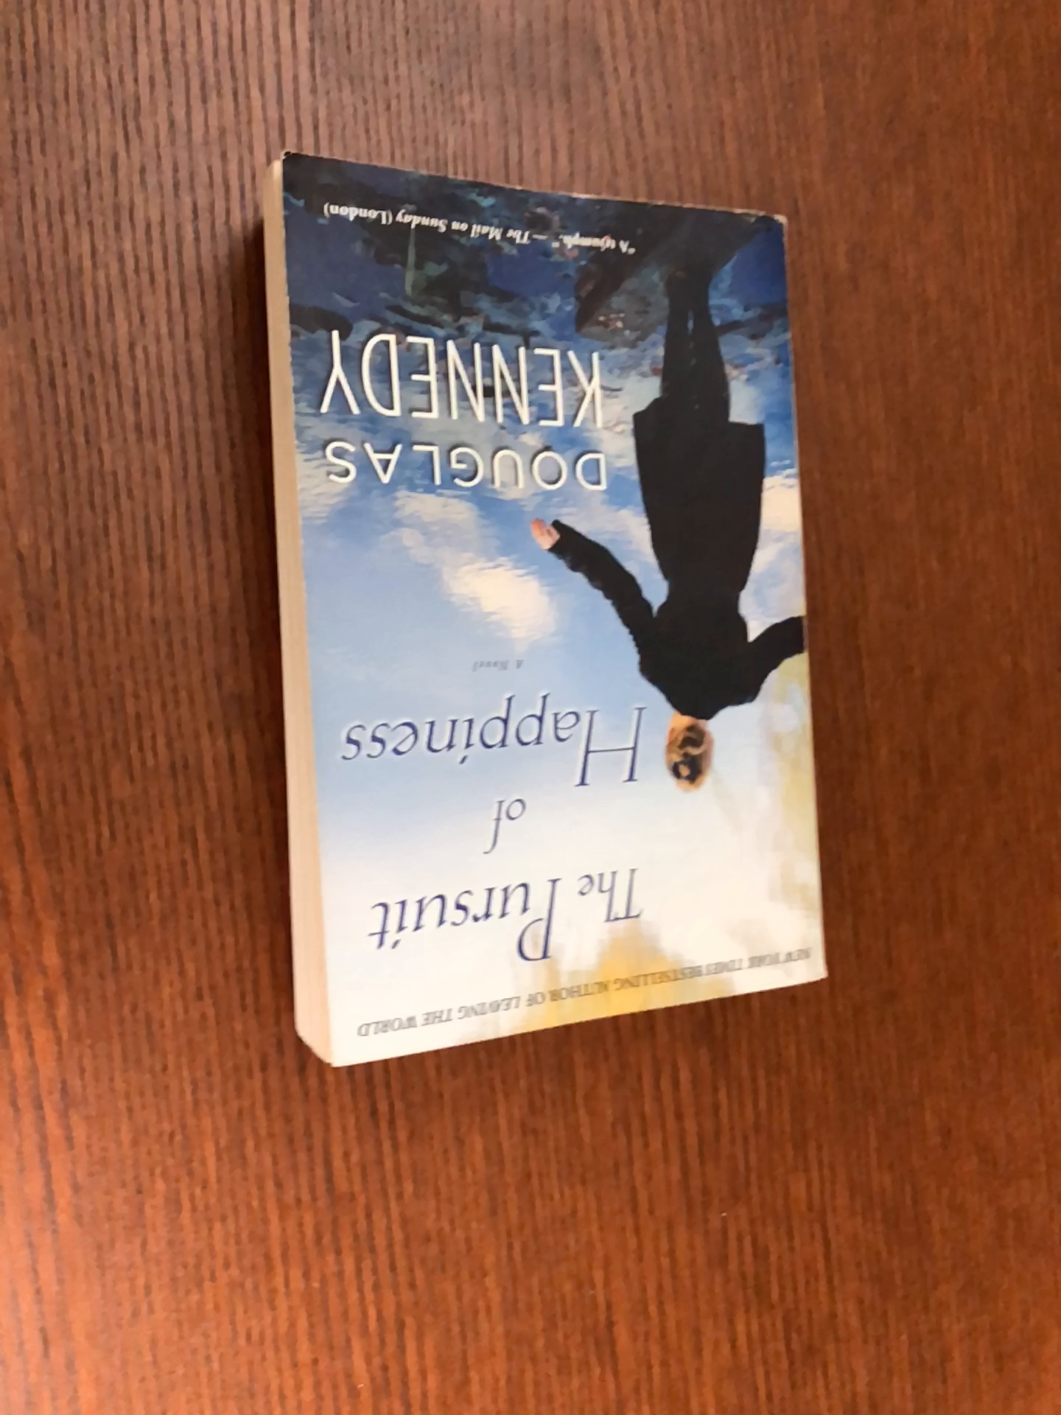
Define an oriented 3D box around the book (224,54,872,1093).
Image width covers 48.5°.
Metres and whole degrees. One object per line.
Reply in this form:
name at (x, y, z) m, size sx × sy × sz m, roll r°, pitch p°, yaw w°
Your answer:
book at (0.006, -0.034, 0.325) m, size 0.160 × 0.050 × 0.240 m, roll -2°, pitch 88°, yaw -22°
